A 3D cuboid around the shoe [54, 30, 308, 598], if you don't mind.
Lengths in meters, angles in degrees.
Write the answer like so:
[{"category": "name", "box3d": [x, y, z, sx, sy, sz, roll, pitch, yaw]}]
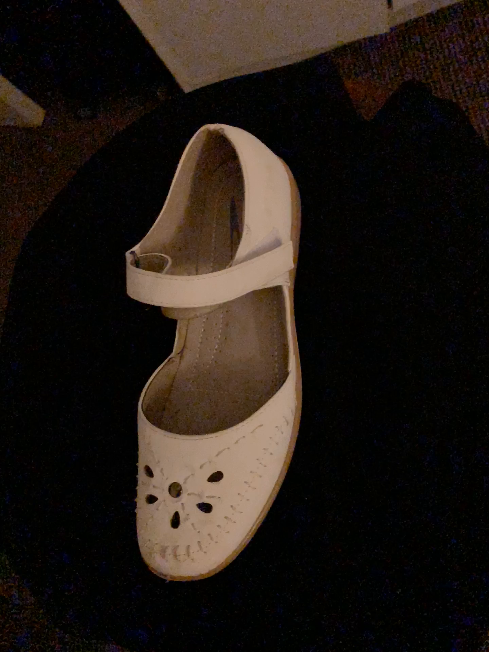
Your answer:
[{"category": "shoe", "box3d": [-0.023, -0.010, 0.296, 0.097, 0.100, 0.270, -3, 77, 20]}]
